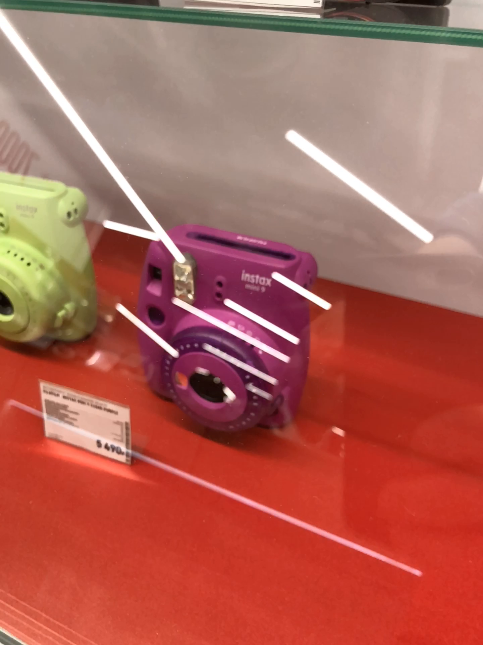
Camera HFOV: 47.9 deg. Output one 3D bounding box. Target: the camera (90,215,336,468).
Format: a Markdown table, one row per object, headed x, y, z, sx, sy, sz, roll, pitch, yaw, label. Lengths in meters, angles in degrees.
| x | y | z | sx | sy | sz | roll | pitch | yaw | label |
| --- | --- | --- | --- | --- | --- | --- | --- | --- | --- |
| -0.016 | 0.007 | 0.331 | 0.117 | 0.103 | 0.073 | 16 | 35 | 21 | camera |

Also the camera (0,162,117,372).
| x | y | z | sx | sy | sz | roll | pitch | yaw | label |
| --- | --- | --- | --- | --- | --- | --- | --- | --- | --- |
| -0.180 | -0.046 | 0.421 | 0.135 | 0.118 | 0.073 | 13 | 34 | 16 | camera |
